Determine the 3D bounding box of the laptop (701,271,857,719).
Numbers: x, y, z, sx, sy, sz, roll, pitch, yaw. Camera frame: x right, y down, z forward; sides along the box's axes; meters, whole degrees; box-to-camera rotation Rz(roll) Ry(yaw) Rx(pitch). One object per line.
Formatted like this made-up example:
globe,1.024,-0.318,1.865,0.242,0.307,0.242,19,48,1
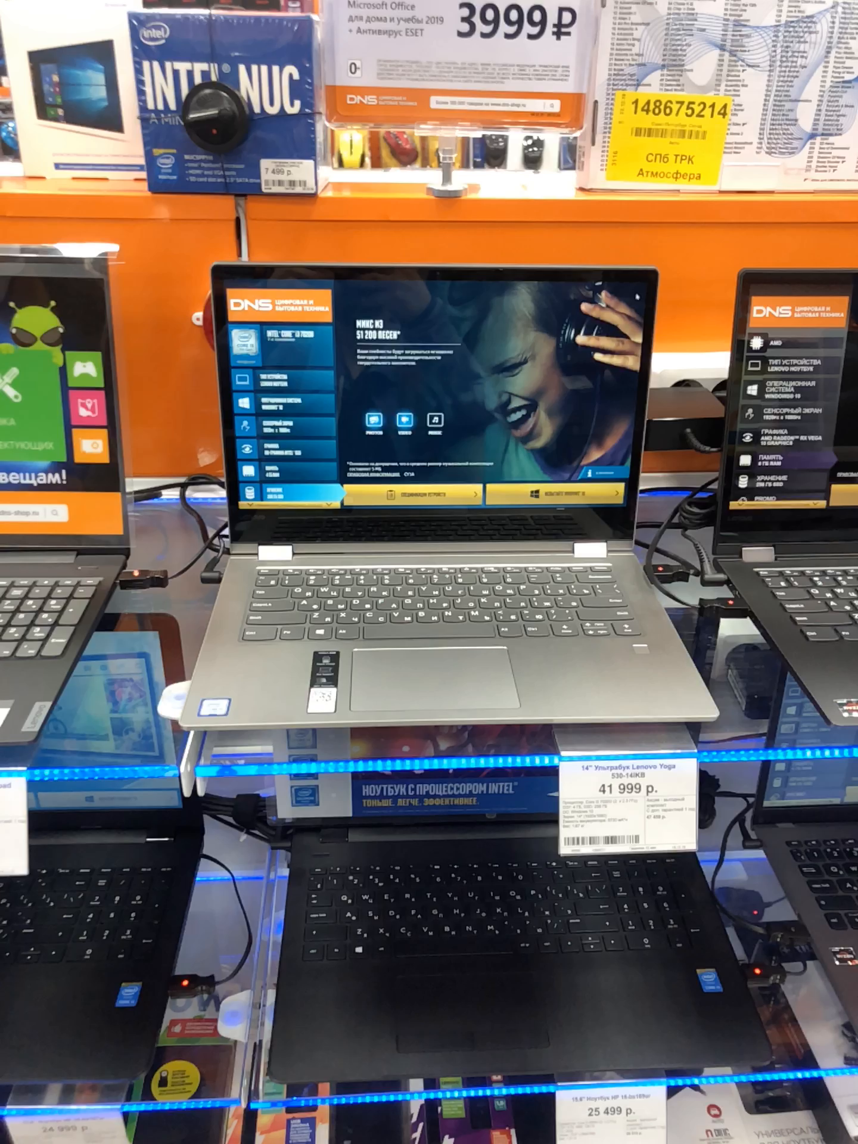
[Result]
laptop,0.379,-0.065,0.620,0.290,0.209,0.249,-1,28,-2

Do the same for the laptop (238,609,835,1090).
laptop,0.063,0.197,0.738,0.367,0.207,0.264,-2,29,-3

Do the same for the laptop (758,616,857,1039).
laptop,0.474,0.192,0.754,0.308,0.213,0.238,-2,27,0

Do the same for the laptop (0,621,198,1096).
laptop,-0.400,0.205,0.721,0.378,0.235,0.240,-1,28,-2

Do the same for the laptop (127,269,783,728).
laptop,0.009,-0.062,0.606,0.315,0.212,0.239,-1,28,-2

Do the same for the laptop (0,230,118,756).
laptop,-0.391,-0.068,0.578,0.305,0.212,0.280,-1,28,-7
